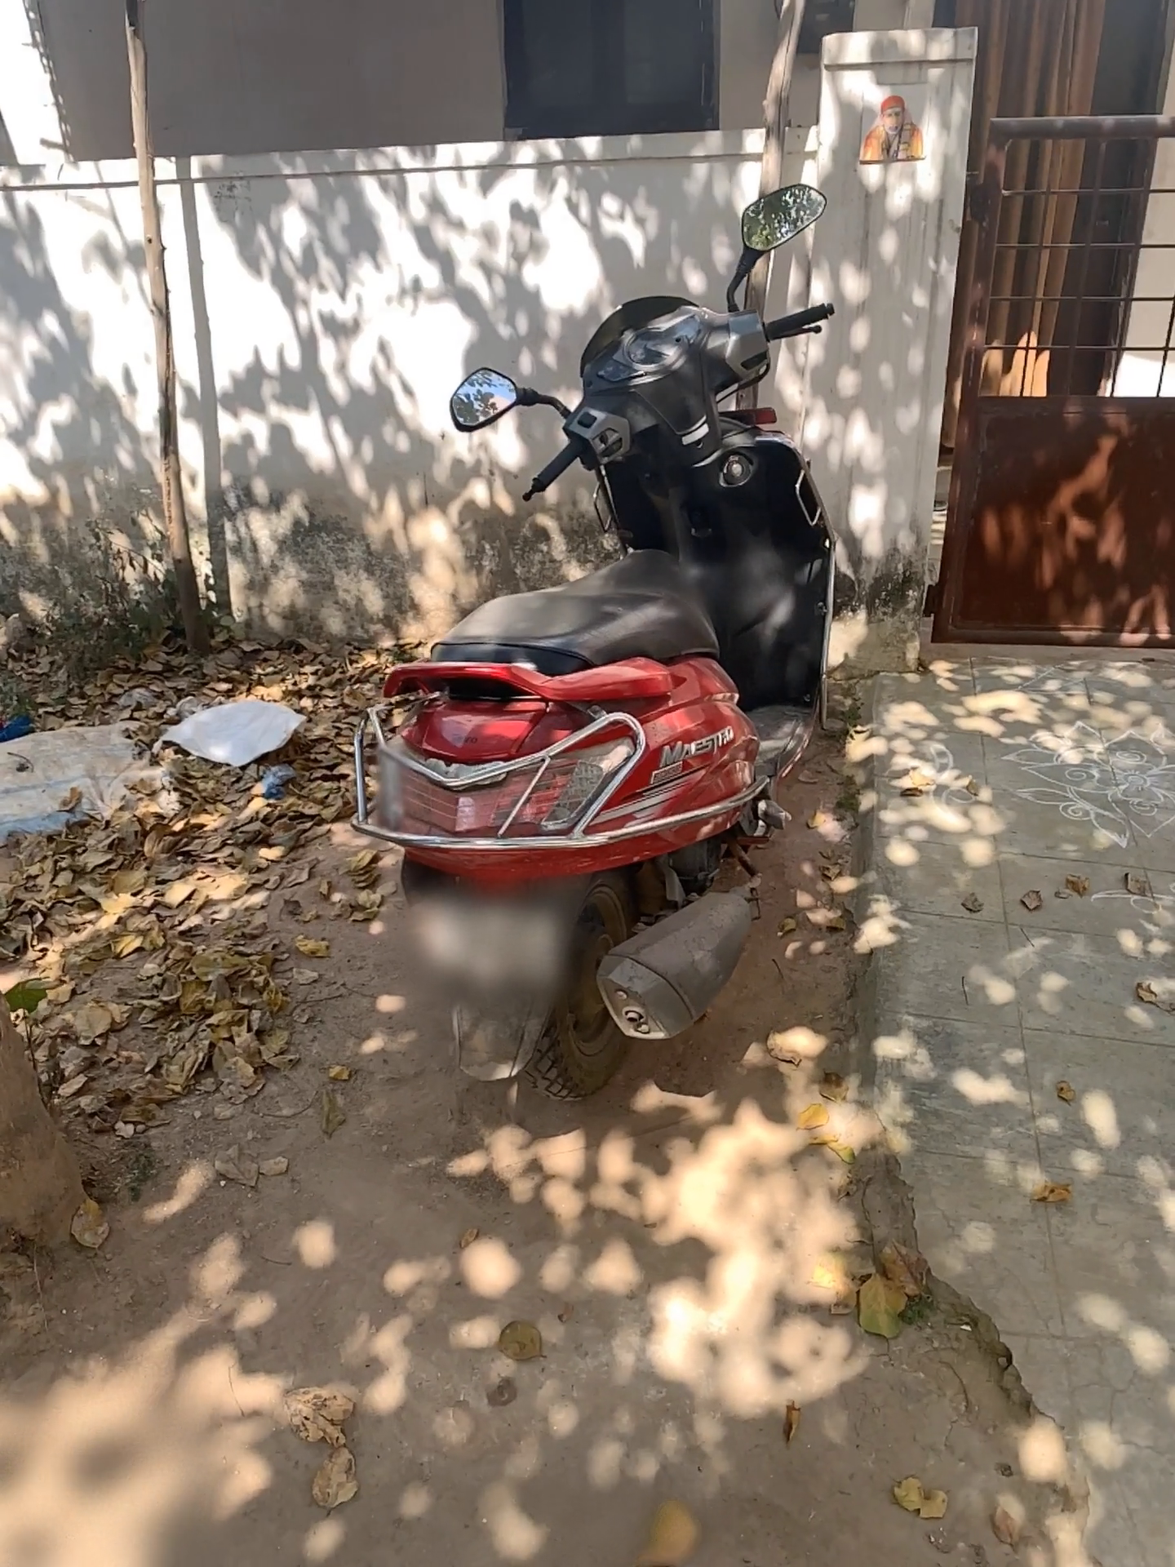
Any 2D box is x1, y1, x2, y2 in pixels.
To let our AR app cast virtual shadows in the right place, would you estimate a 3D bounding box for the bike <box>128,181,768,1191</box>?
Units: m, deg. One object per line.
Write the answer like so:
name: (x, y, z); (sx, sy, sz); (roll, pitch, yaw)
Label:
bike: (-0.069, -0.424, 2.416); (0.735, 1.155, 1.768); (3, 32, 11)
